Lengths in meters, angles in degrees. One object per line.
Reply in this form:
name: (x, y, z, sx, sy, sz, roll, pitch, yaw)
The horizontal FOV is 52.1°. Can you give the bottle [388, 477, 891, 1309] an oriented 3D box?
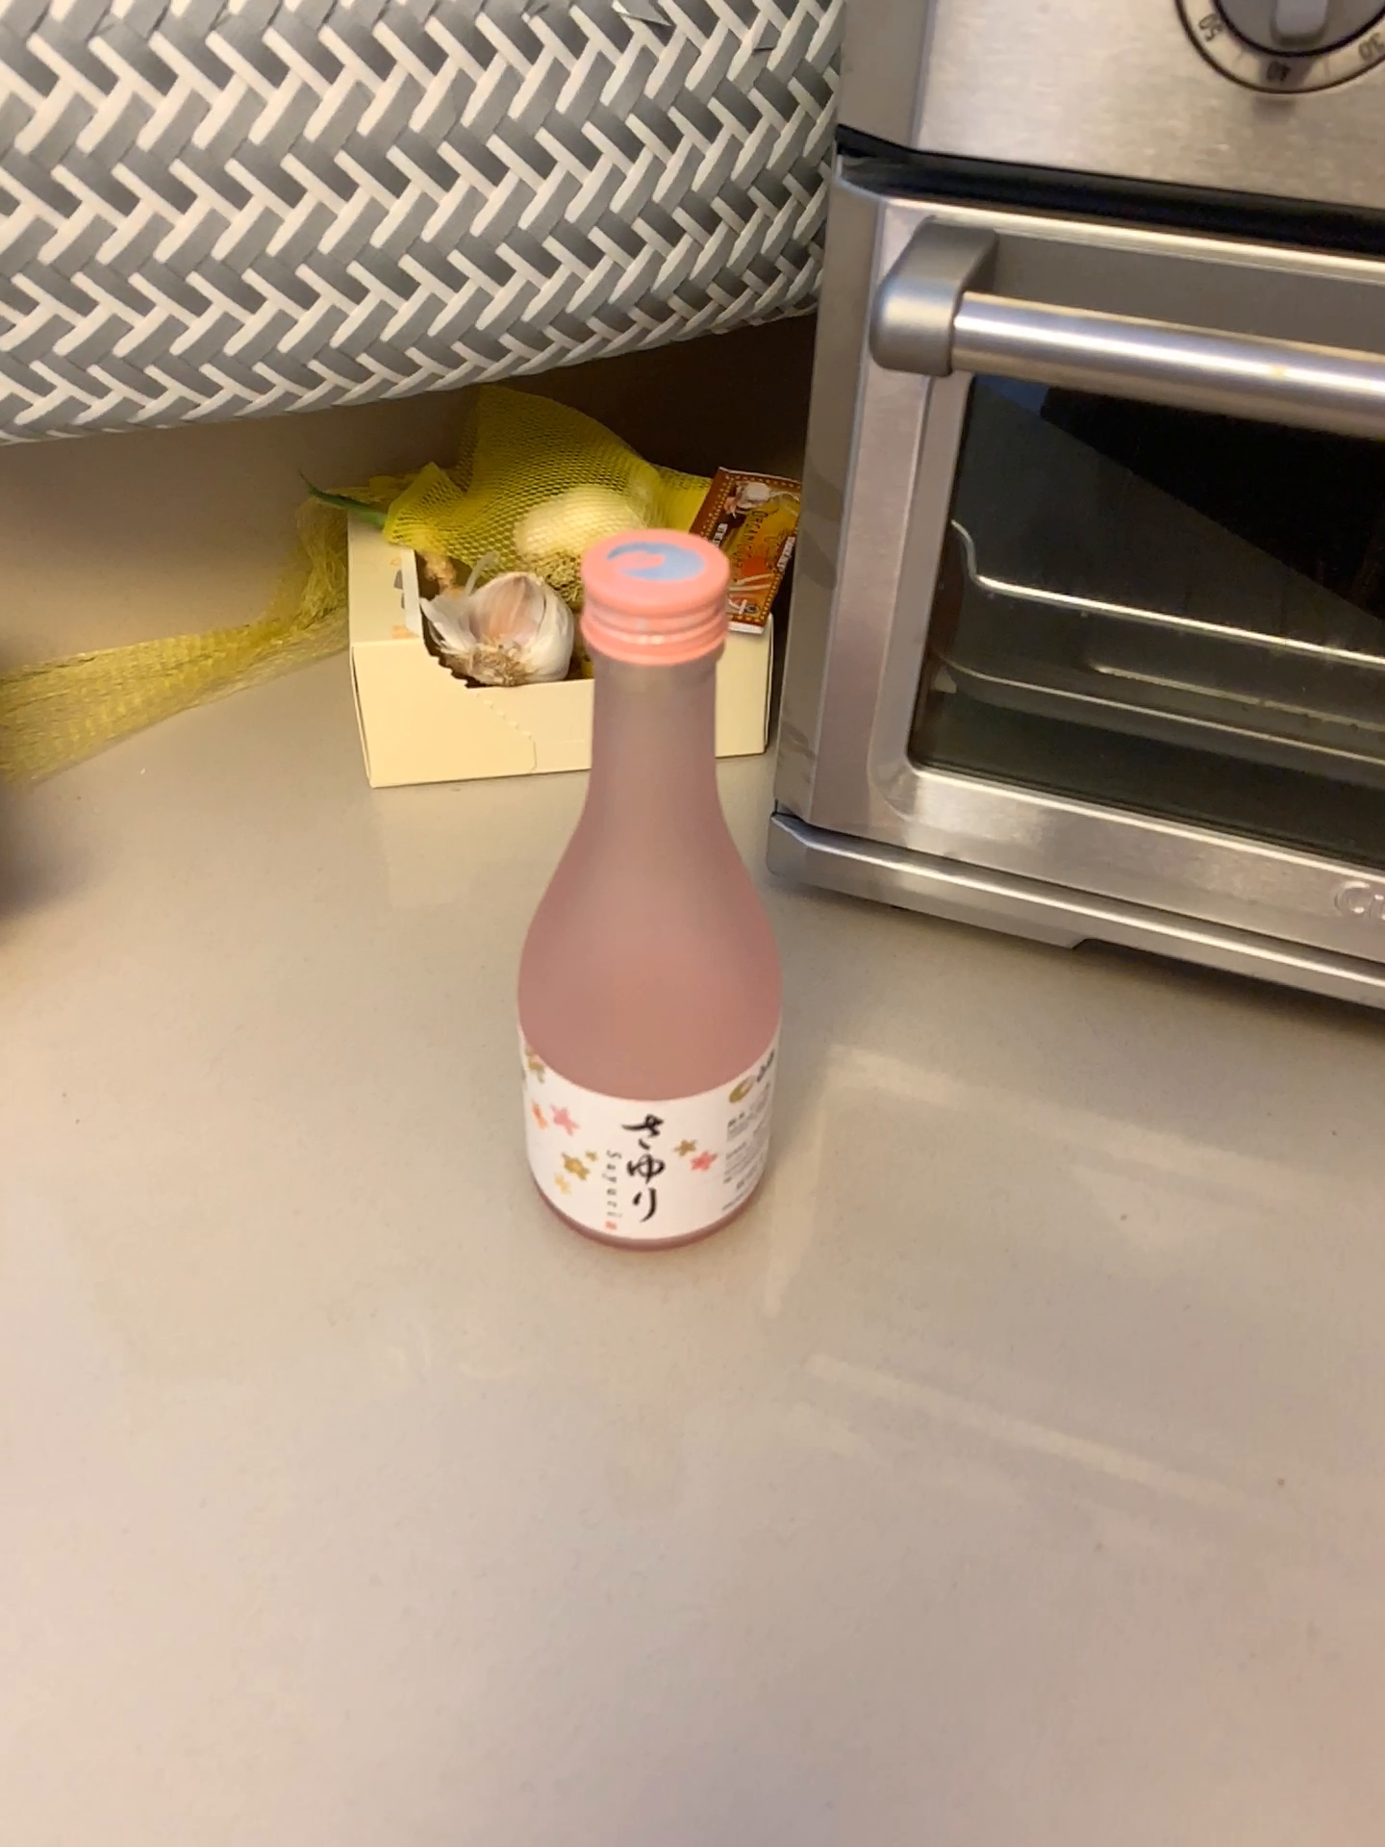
bottle: (-0.010, -0.001, 0.326, 0.070, 0.169, 0.070, 1, 42, -1)
